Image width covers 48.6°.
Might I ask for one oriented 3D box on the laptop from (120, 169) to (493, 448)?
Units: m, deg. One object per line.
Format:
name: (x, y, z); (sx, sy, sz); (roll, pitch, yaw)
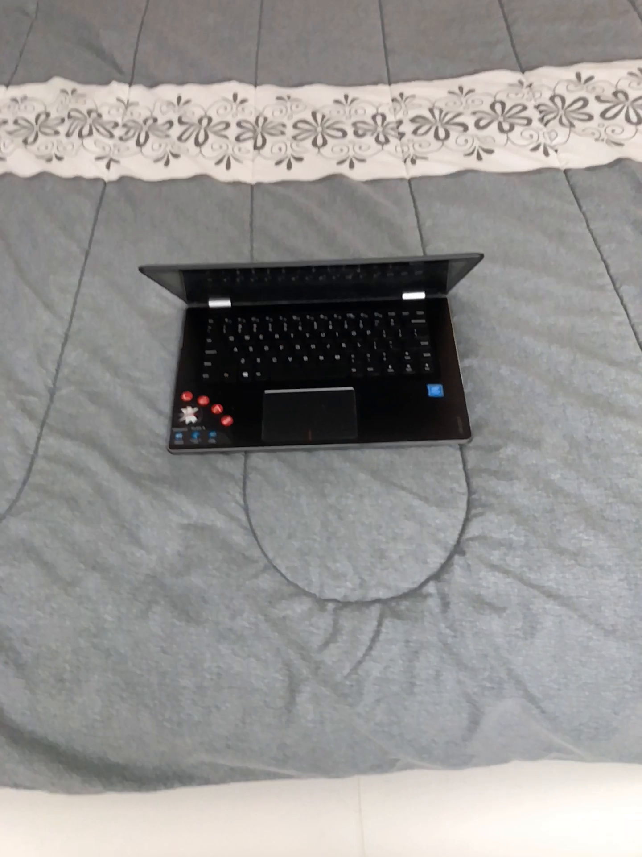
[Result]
laptop: (-0.009, -0.119, 0.712); (0.304, 0.167, 0.215); (-2, 53, 1)
